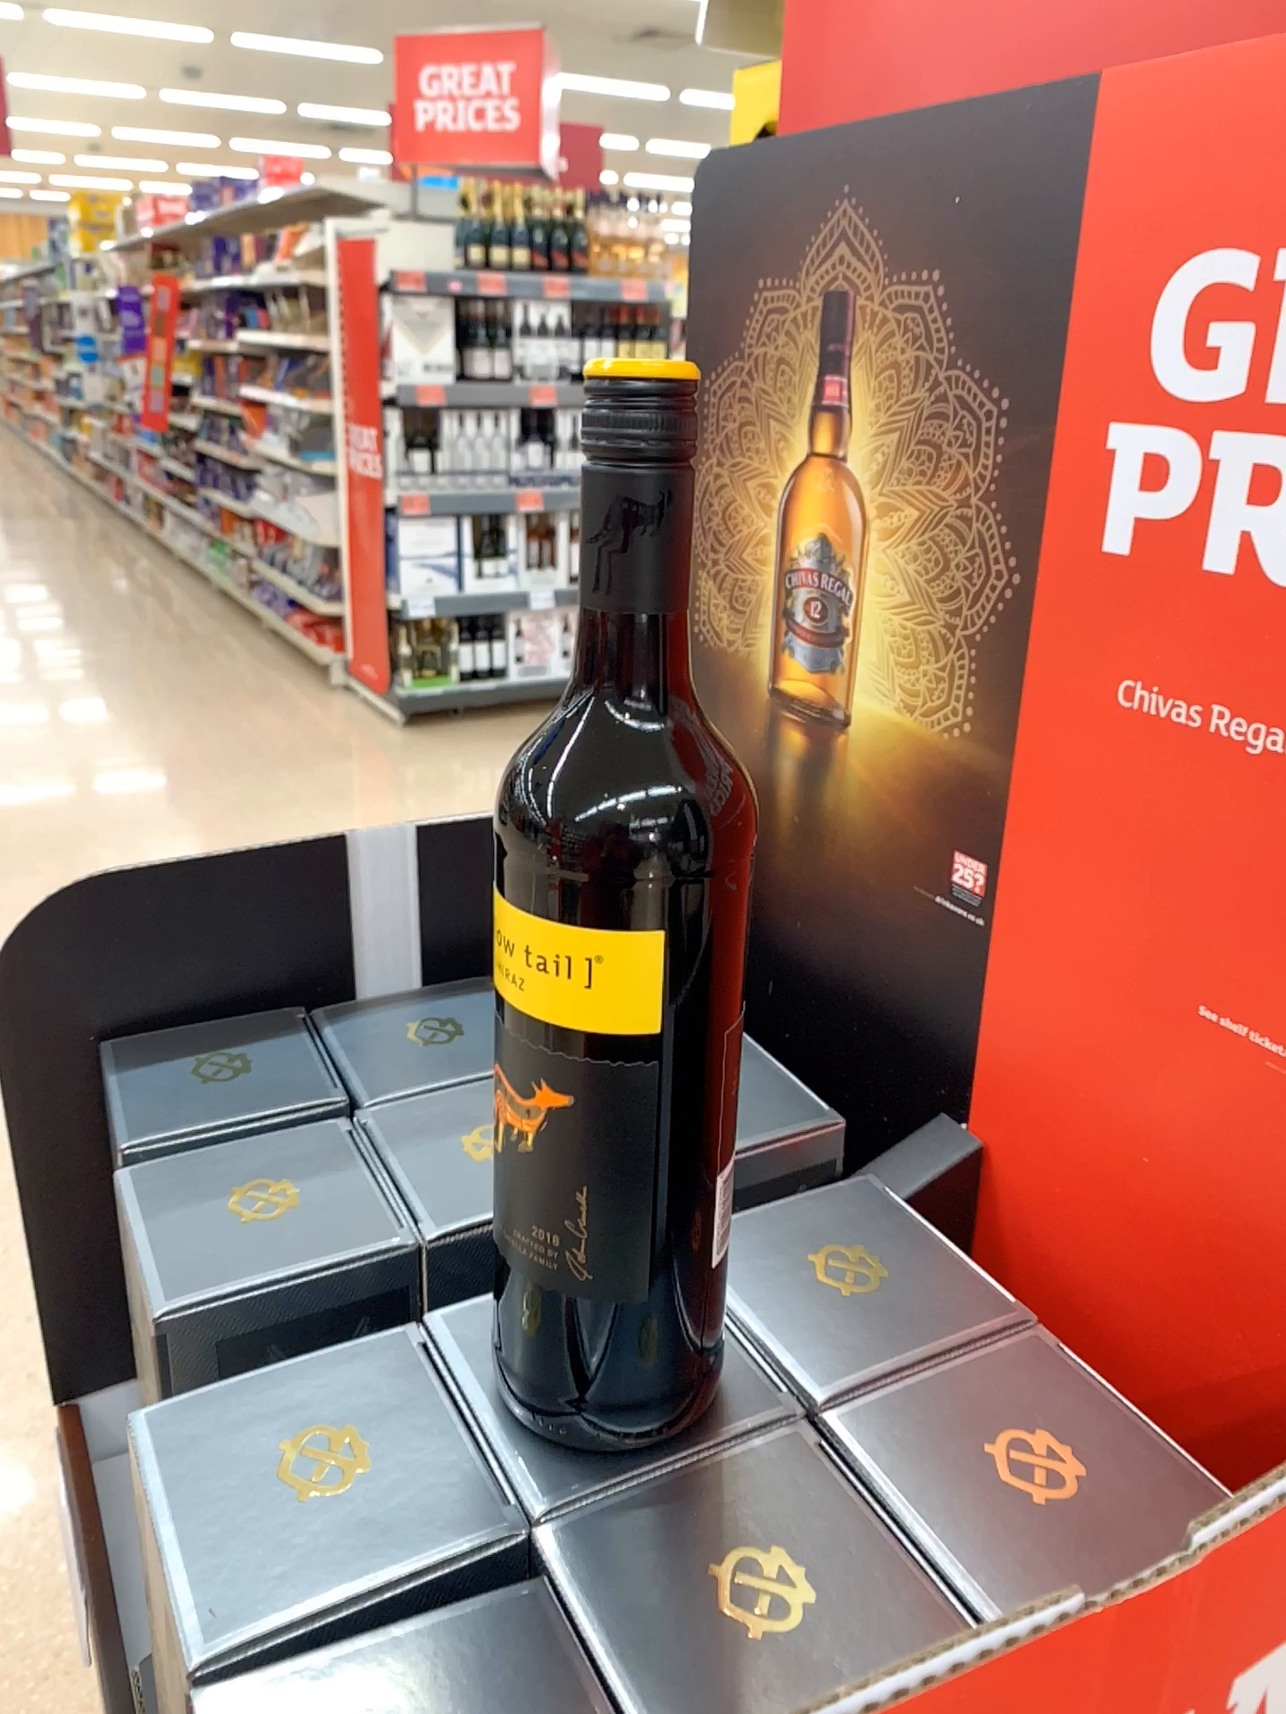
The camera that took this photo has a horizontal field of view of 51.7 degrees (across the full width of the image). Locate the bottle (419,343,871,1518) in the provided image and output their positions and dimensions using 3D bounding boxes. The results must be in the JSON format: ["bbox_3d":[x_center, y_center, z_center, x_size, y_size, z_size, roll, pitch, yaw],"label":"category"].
[{"bbox_3d":[-0.006,0.023,0.367,0.081,0.305,0.078,1,20,-1],"label":"bottle"}]
